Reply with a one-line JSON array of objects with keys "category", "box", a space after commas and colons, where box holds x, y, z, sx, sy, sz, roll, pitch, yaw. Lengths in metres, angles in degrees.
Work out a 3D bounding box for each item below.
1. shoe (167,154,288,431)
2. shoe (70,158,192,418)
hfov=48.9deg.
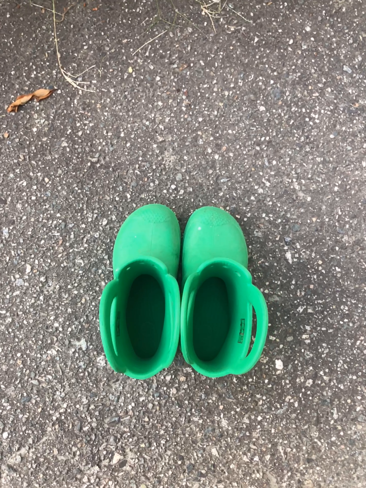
[{"category": "shoe", "box": [0.040, 0.052, 0.513, 0.110, 0.260, 0.260, 2, 86, -2]}, {"category": "shoe", "box": [-0.053, 0.049, 0.509, 0.110, 0.230, 0.250, 2, 86, -2]}]
